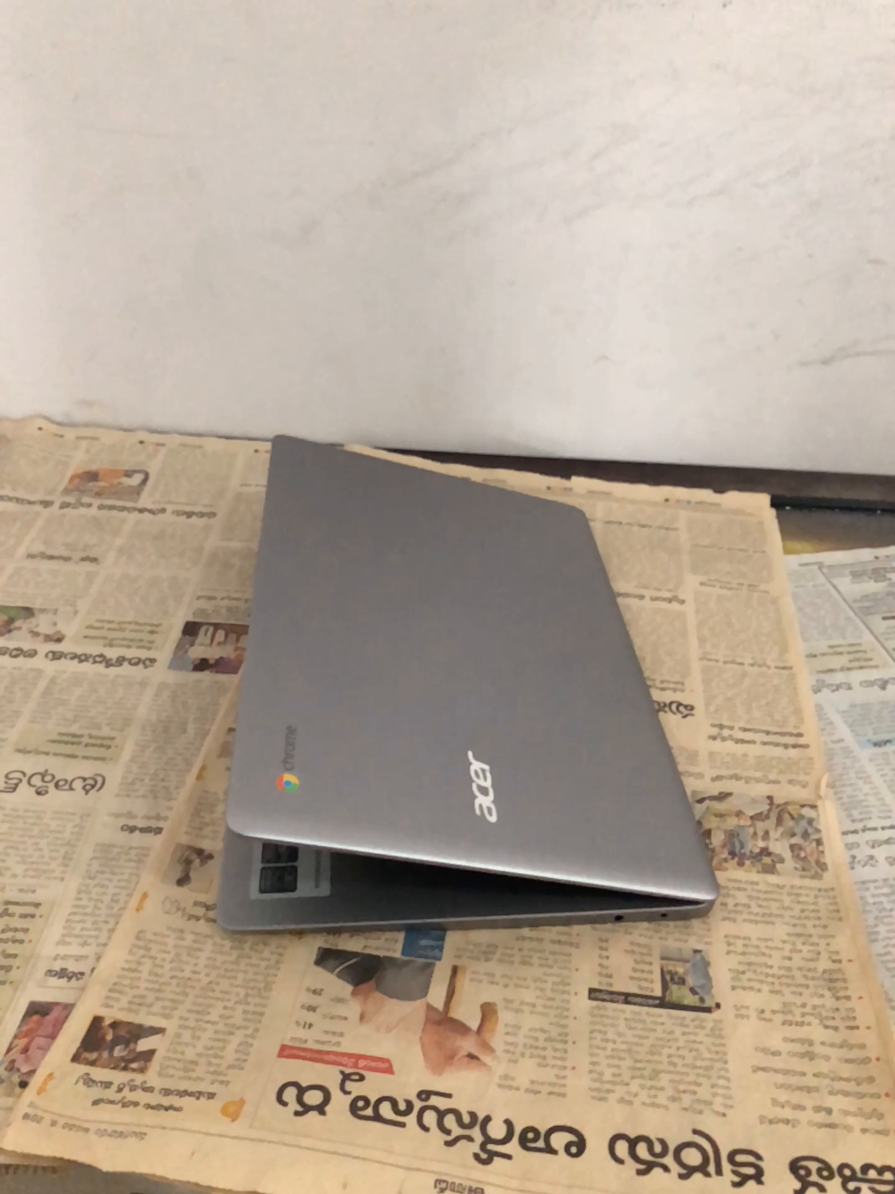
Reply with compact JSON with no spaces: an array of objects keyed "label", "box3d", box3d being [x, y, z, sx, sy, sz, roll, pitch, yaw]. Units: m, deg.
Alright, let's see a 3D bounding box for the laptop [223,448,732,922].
[{"label":"laptop","box3d":[0.000,0.021,0.558,0.210,0.058,0.332,-1,36,-5]}]
